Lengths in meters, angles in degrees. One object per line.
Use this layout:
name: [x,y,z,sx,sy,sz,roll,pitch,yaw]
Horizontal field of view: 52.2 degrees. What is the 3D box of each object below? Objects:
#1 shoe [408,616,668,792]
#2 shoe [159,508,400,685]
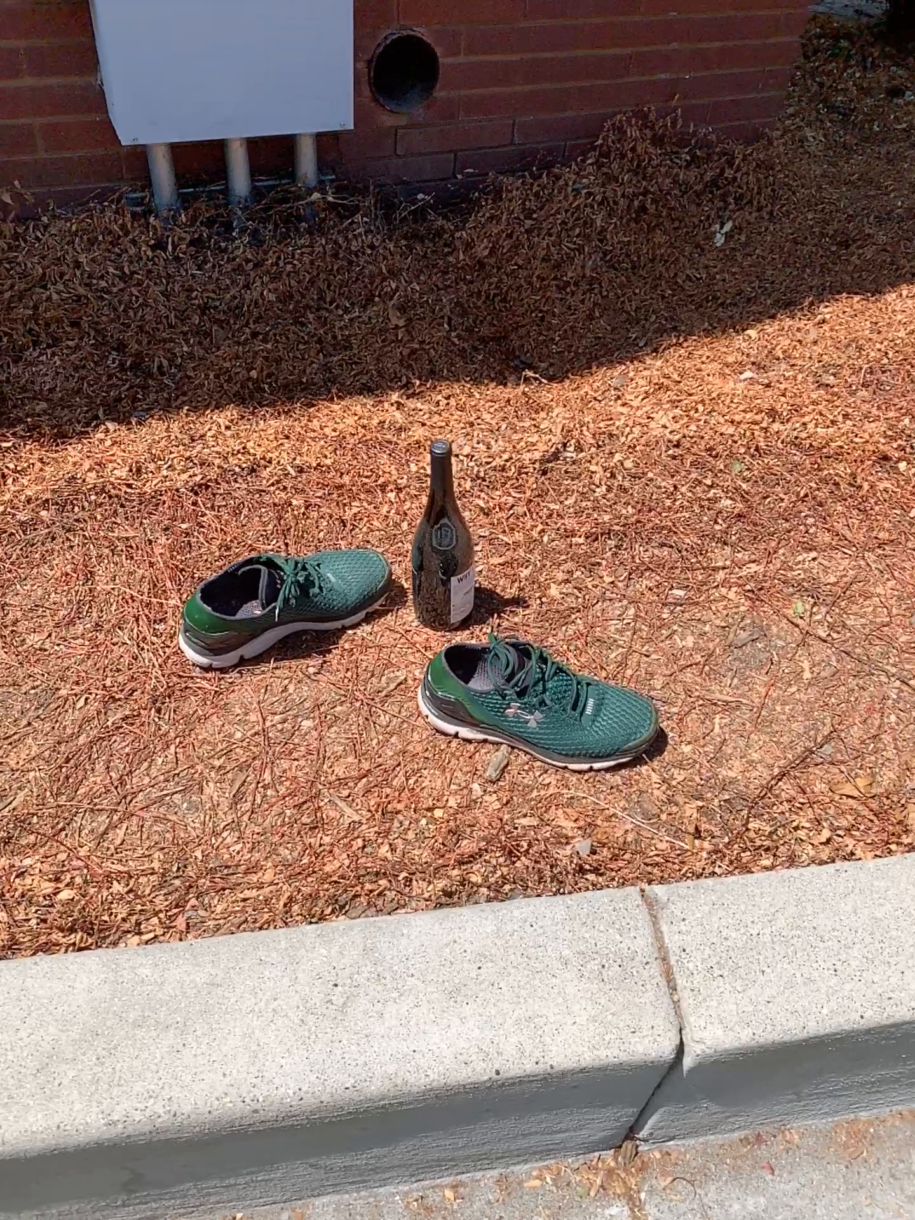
shoe: [0.097,0.113,1.139,0.290,0.099,0.121,12,46,5]
shoe: [-0.236,-0.024,1.269,0.290,0.099,0.121,-21,52,-24]
